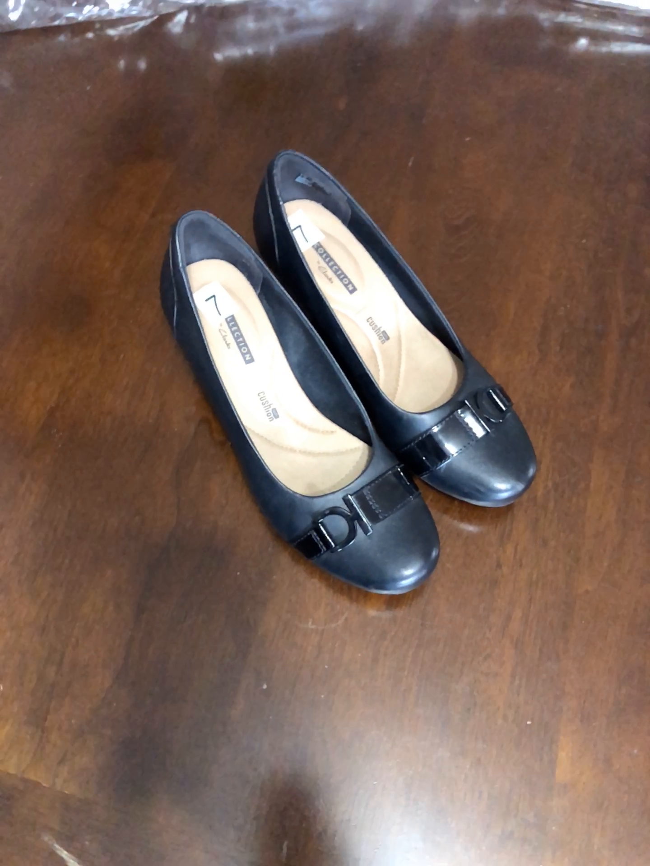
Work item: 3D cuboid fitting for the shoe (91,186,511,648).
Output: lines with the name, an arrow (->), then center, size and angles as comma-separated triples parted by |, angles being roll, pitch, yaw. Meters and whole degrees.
shoe -> -0.022, -0.012, 0.430 | 0.090, 0.110, 0.250 | -34, 69, -16

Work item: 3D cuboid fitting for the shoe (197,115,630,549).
shoe -> 0.040, -0.064, 0.447 | 0.090, 0.110, 0.250 | -38, 70, -17
